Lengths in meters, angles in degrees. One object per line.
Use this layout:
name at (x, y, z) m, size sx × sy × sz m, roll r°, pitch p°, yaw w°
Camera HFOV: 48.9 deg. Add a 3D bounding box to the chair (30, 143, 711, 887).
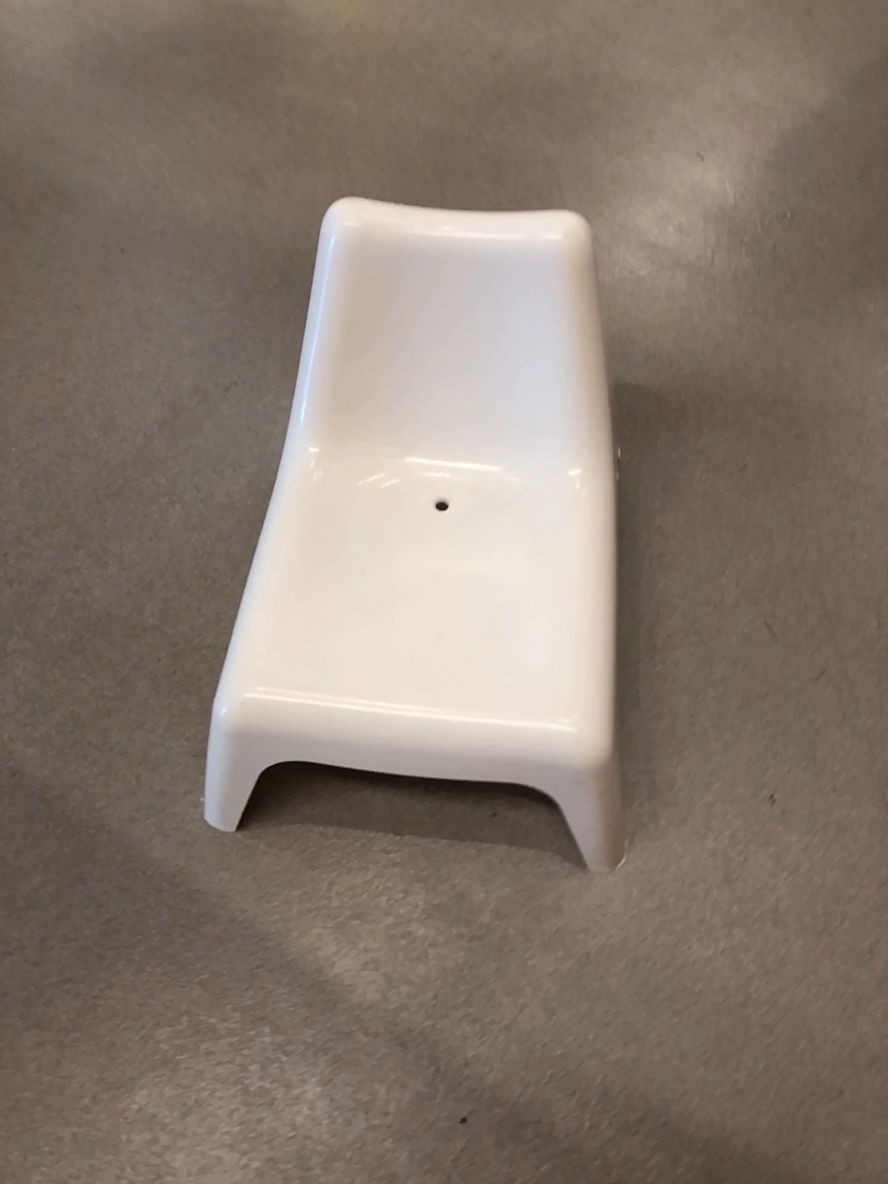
chair at (-0.027, -0.088, 1.092) m, size 0.530 × 0.399 × 0.691 m, roll 4°, pitch 62°, yaw 4°
